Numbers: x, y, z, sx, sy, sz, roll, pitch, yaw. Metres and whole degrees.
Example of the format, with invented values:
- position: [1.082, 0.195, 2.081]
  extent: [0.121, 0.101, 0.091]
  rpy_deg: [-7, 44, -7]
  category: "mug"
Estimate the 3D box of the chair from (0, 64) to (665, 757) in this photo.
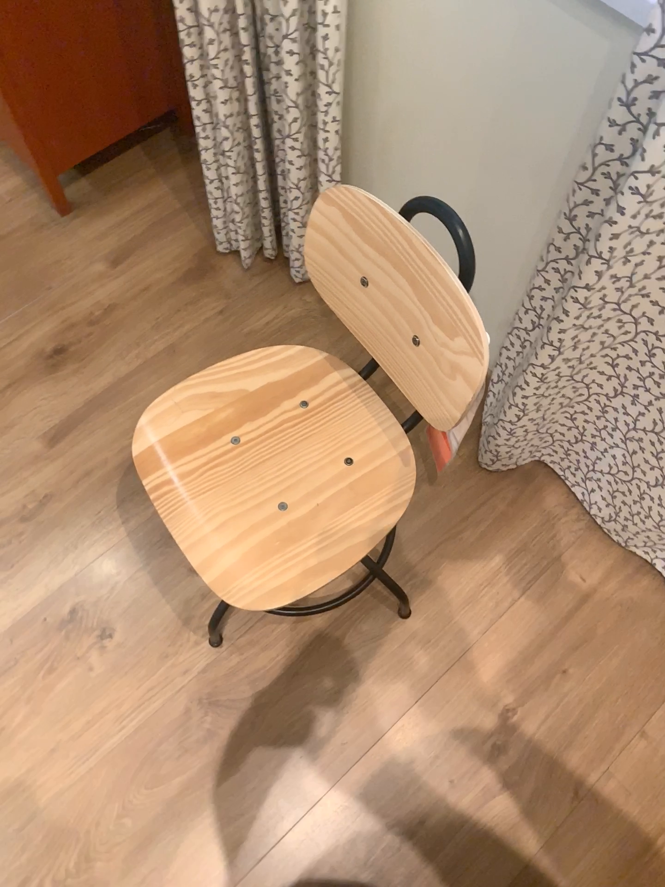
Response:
- position: [-0.071, 0.013, 1.001]
  extent: [0.620, 0.649, 0.560]
  rpy_deg: [-32, 70, -14]
  category: "chair"
